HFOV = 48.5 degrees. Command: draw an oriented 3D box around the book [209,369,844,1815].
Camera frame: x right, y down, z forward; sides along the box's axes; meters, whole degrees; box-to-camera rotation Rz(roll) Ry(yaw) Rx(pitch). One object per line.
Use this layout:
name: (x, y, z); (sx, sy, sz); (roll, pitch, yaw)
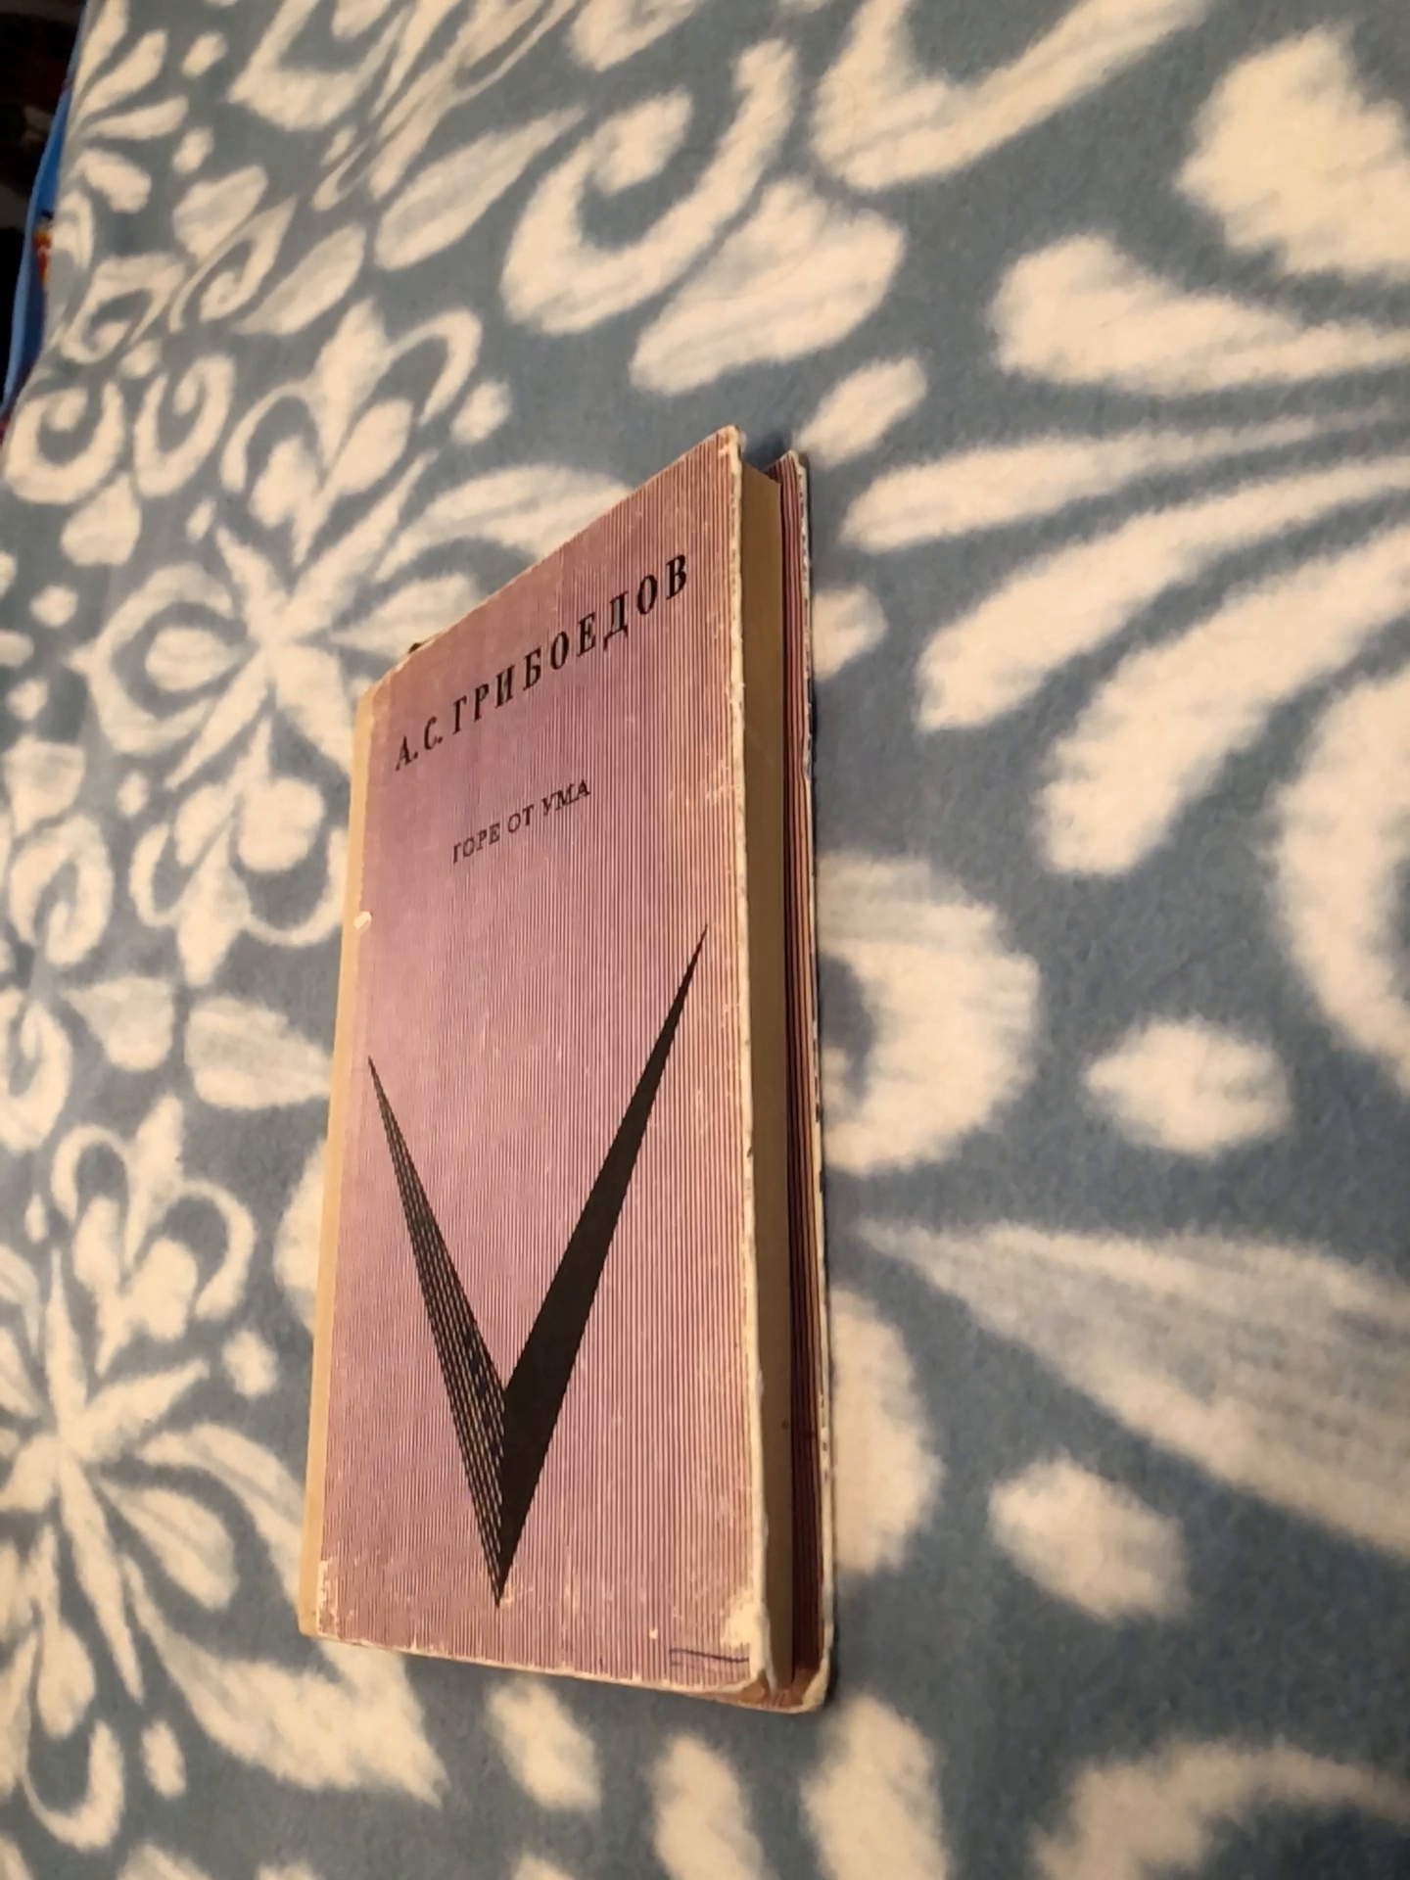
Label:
book: (-0.041, 0.027, 0.294); (0.159, 0.020, 0.217); (-21, 63, 47)
